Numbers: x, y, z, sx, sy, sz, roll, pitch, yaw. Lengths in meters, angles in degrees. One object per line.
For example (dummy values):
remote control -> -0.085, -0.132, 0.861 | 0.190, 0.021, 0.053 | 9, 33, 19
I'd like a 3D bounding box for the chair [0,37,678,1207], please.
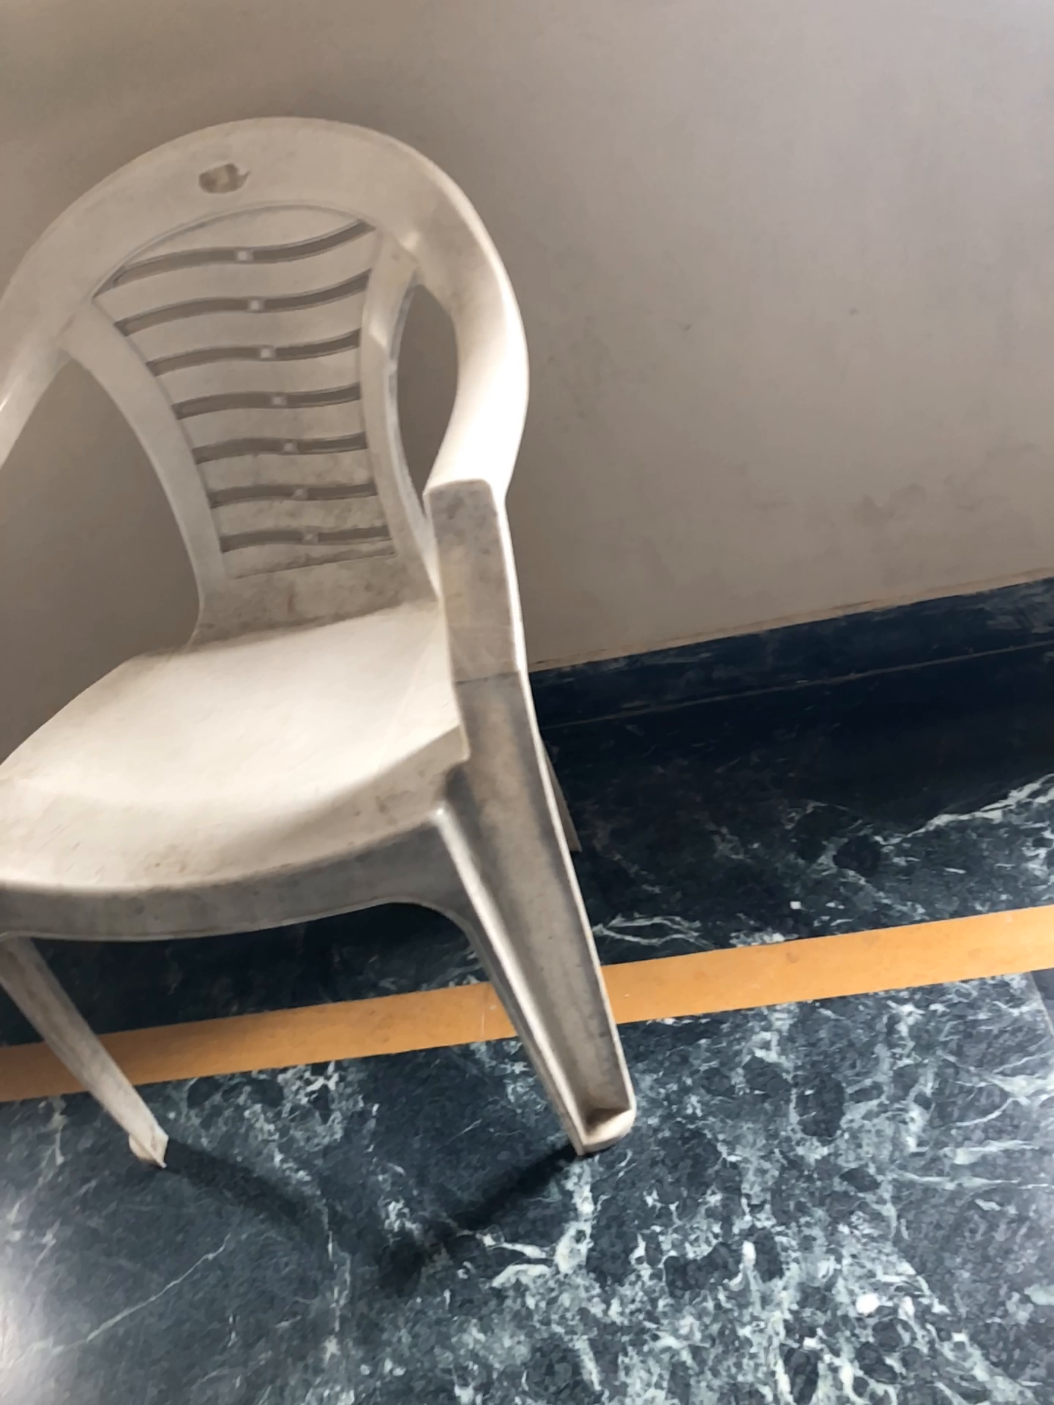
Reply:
chair -> -0.229, -0.063, 1.064 | 0.580, 0.775, 0.624 | -9, 35, 10
